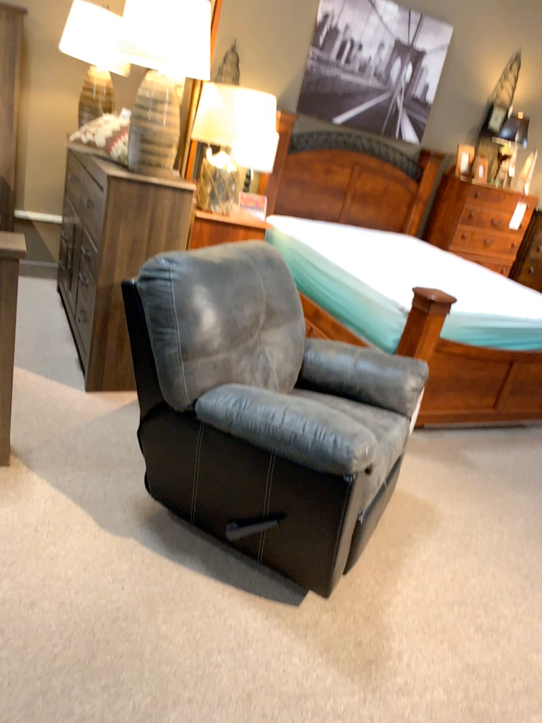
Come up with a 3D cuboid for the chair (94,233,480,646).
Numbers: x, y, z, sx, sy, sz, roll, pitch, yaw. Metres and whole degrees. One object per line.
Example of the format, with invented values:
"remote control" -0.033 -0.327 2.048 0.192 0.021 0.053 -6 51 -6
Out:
"chair" 0.092 0.138 2.057 0.904 0.923 0.992 23 24 20
